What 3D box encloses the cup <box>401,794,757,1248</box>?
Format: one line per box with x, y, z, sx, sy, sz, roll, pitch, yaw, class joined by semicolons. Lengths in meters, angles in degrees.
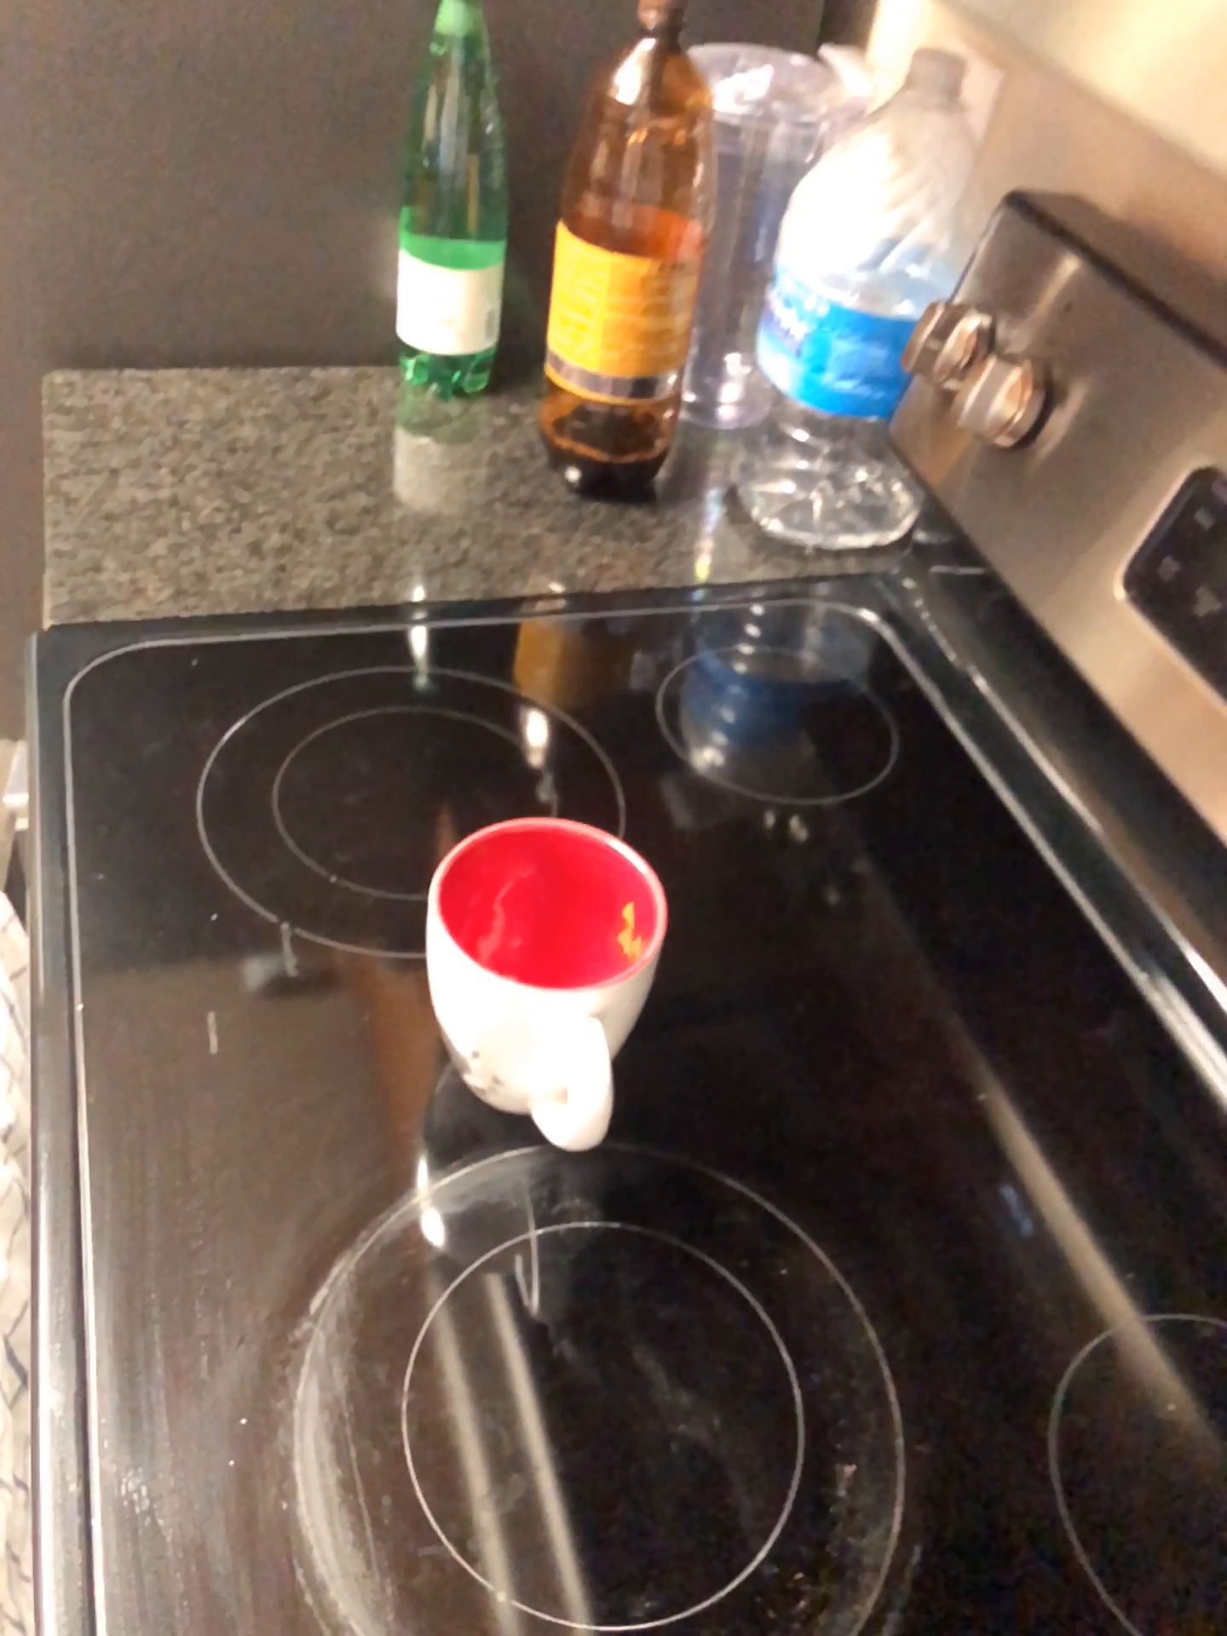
-0.023;0.079;0.566;0.100;0.100;0.140;-7;45;-18;cup
